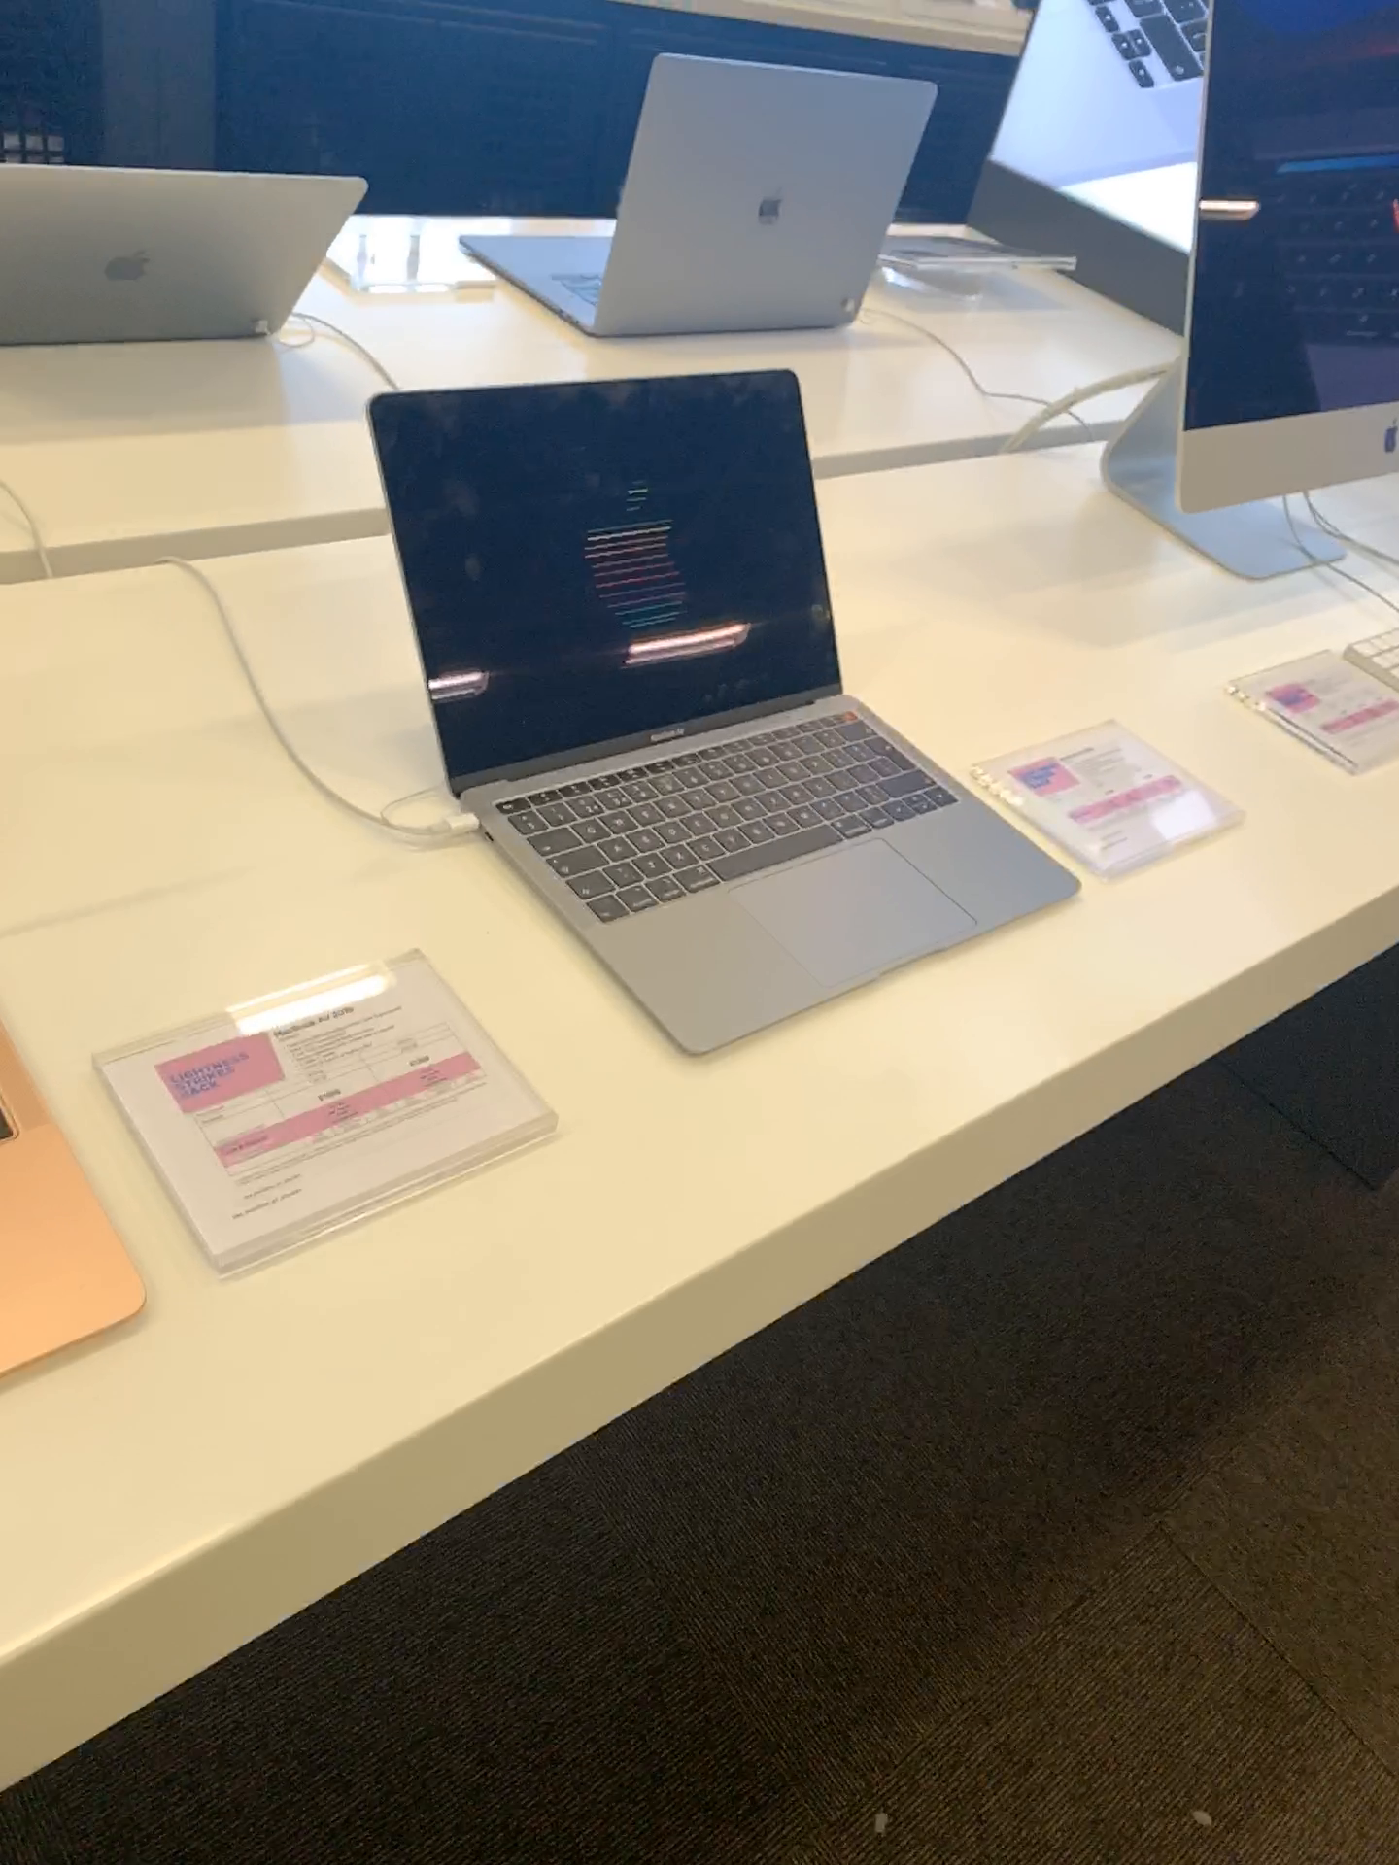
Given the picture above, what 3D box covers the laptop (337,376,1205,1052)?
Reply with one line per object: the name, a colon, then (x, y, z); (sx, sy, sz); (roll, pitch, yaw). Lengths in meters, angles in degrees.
laptop: (0.025, -0.145, 0.770); (0.291, 0.160, 0.329); (-20, 52, -37)
